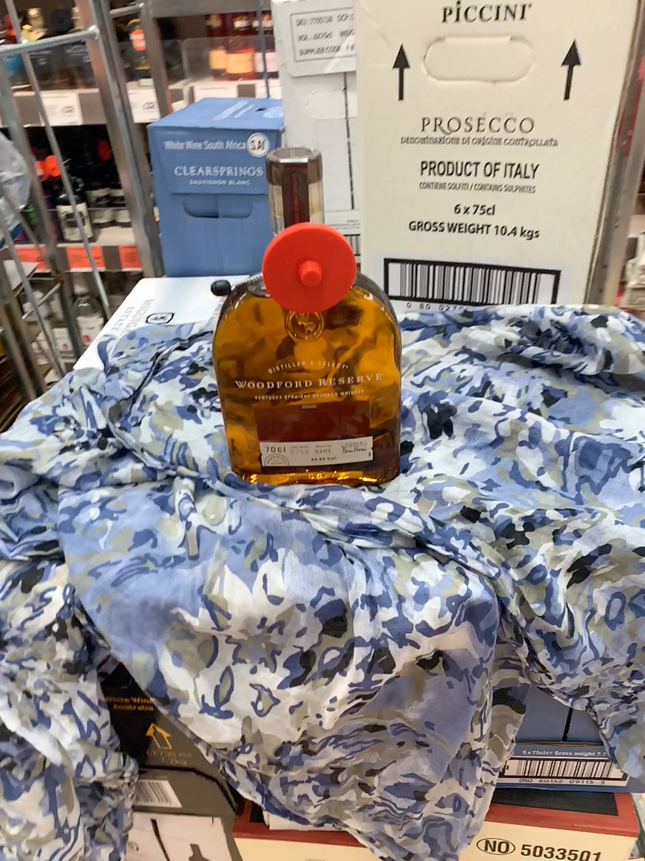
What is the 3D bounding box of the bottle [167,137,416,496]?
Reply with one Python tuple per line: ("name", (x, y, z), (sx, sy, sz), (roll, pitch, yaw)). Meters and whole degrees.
("bottle", (-0.011, -0.064, 0.434), (0.133, 0.222, 0.051), (-3, 32, 1))
